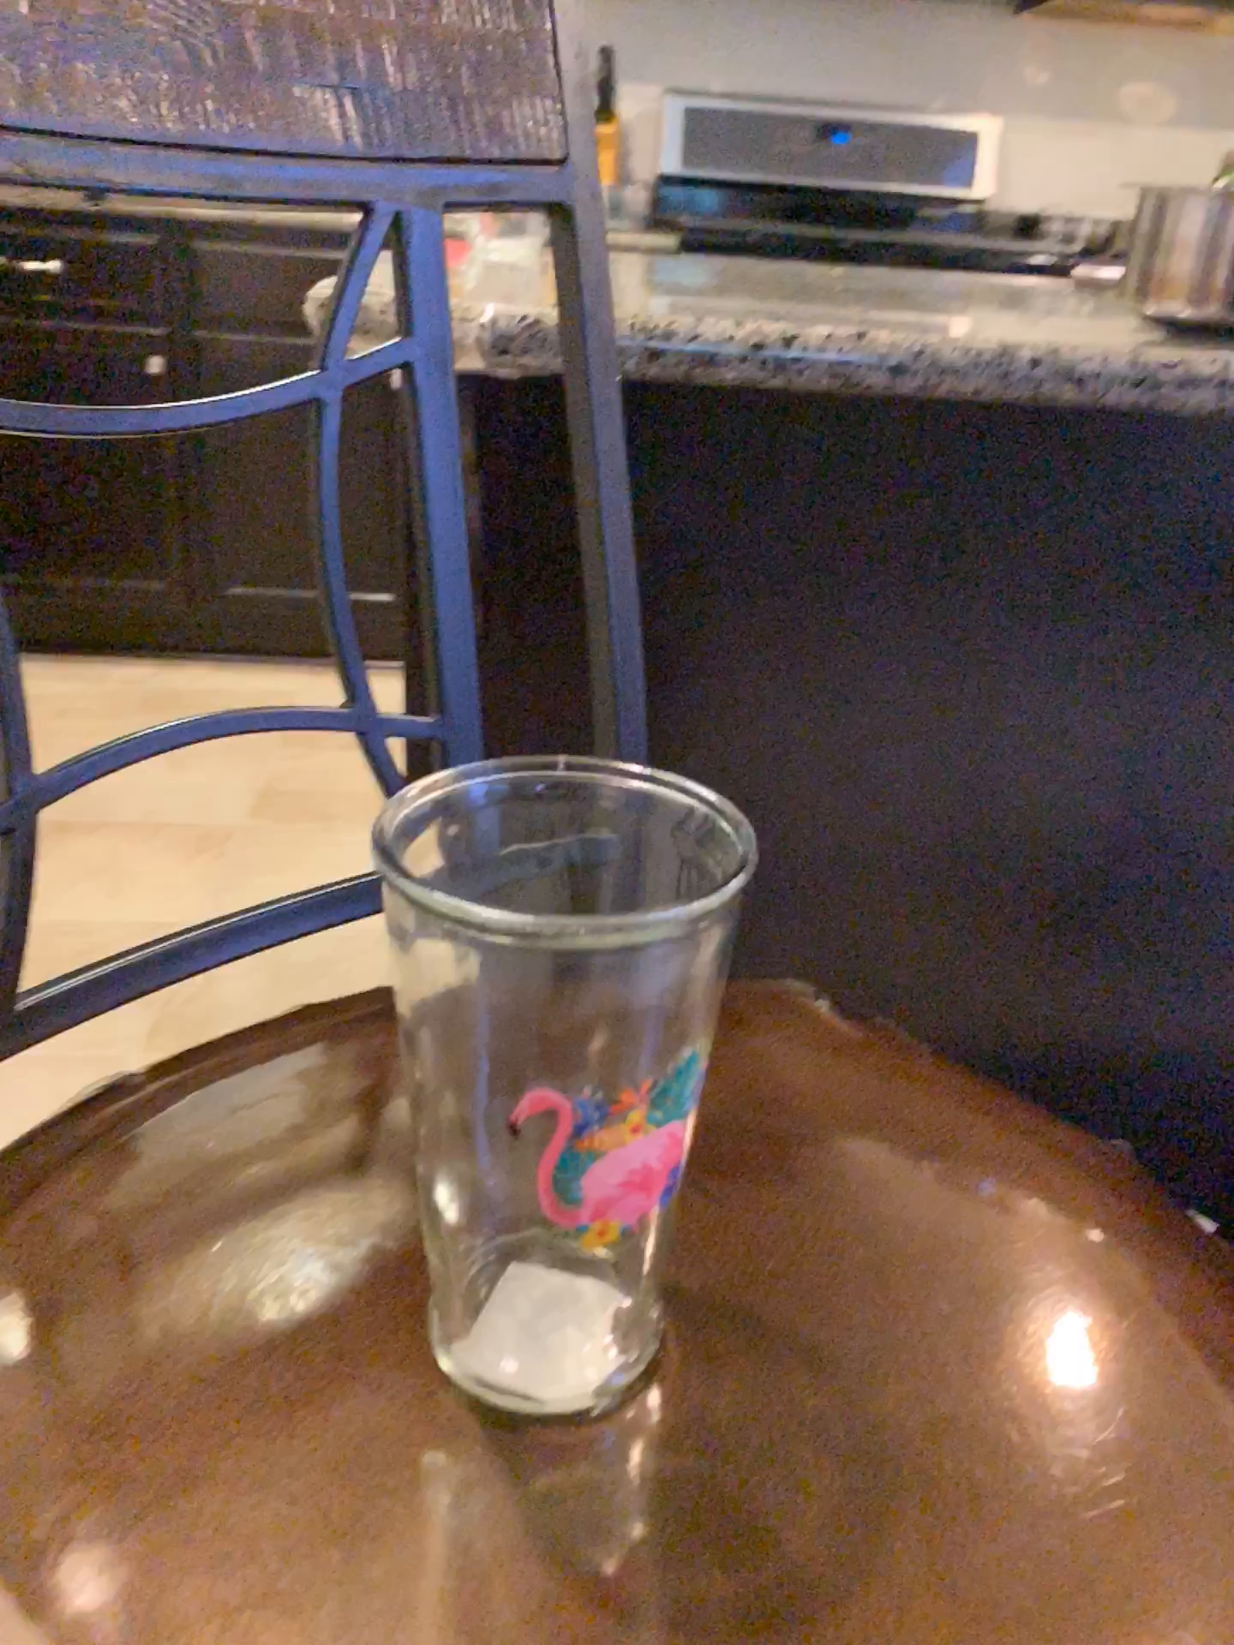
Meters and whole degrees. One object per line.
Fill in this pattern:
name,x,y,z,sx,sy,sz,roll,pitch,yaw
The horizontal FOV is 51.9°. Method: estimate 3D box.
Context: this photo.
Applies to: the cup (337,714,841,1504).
cup,-0.014,0.062,0.303,0.080,0.149,0.081,4,25,-2
